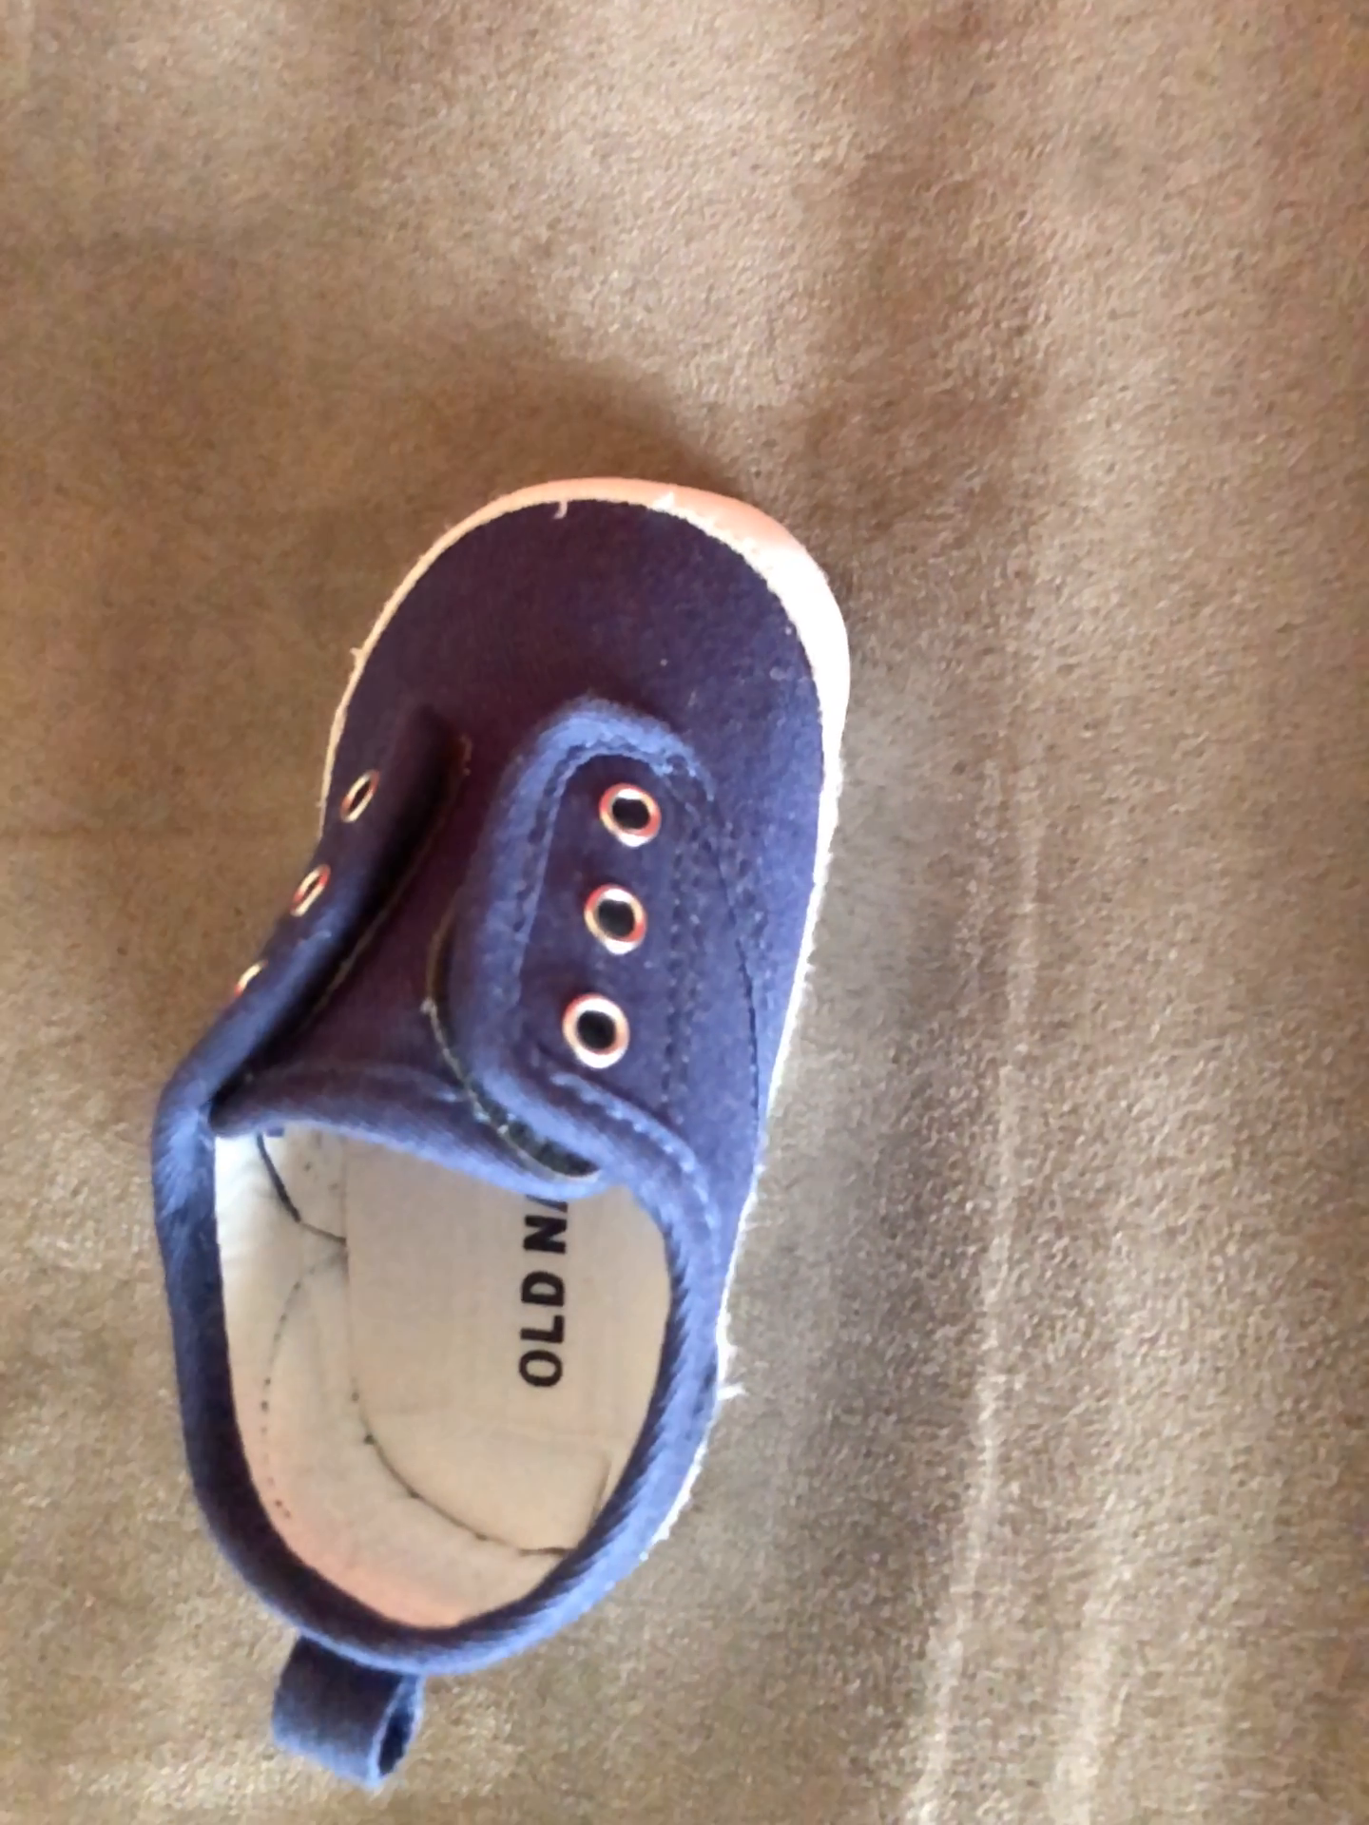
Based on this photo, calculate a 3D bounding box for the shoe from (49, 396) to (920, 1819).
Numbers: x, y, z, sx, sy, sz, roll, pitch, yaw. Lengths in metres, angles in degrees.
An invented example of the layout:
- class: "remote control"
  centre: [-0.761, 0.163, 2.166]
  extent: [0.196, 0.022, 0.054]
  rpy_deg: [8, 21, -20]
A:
- class: "shoe"
  centre: [-0.017, 0.013, 0.155]
  extent: [0.060, 0.060, 0.110]
  rpy_deg: [6, 95, 20]
